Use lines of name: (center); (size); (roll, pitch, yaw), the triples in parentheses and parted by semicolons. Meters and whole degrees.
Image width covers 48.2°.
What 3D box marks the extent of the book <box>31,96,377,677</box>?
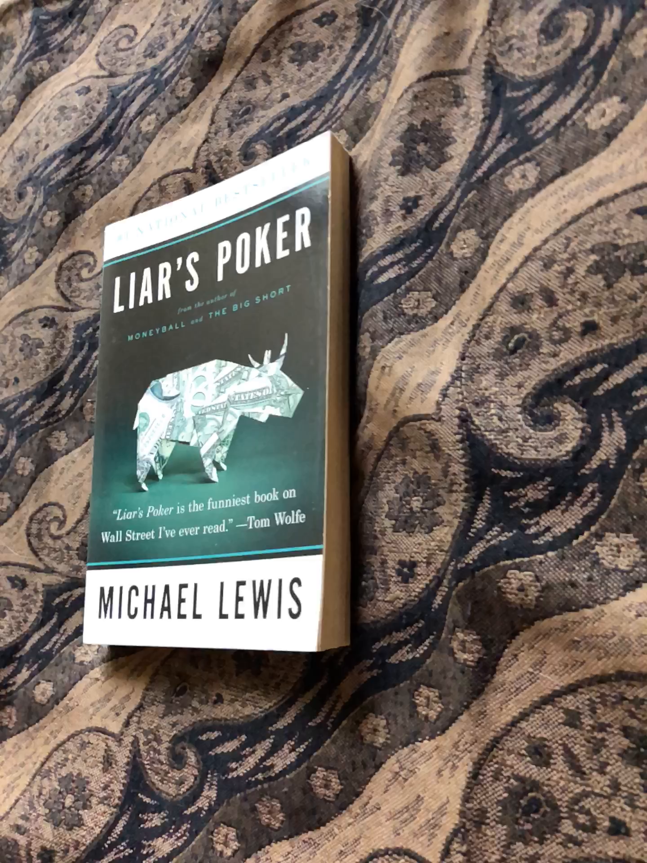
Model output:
book: (-0.053, -0.013, 0.310); (0.151, 0.040, 0.210); (-8, 75, 34)
